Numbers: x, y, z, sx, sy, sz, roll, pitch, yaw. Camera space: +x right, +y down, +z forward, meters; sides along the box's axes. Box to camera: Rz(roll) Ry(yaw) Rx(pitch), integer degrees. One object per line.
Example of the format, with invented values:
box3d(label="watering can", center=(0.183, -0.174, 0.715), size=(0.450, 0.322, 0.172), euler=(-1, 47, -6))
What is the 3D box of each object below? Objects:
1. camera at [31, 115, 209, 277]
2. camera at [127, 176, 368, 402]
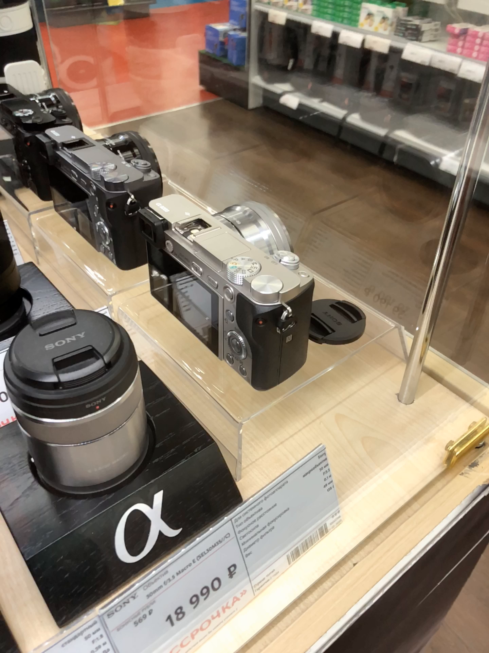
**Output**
box3d(label="camera", center=(-0.096, -0.105, 0.415), size=(0.076, 0.061, 0.128), euler=(-26, 47, -29))
box3d(label="camera", center=(-0.003, -0.030, 0.325), size=(0.076, 0.061, 0.124), euler=(-26, 47, -29))
